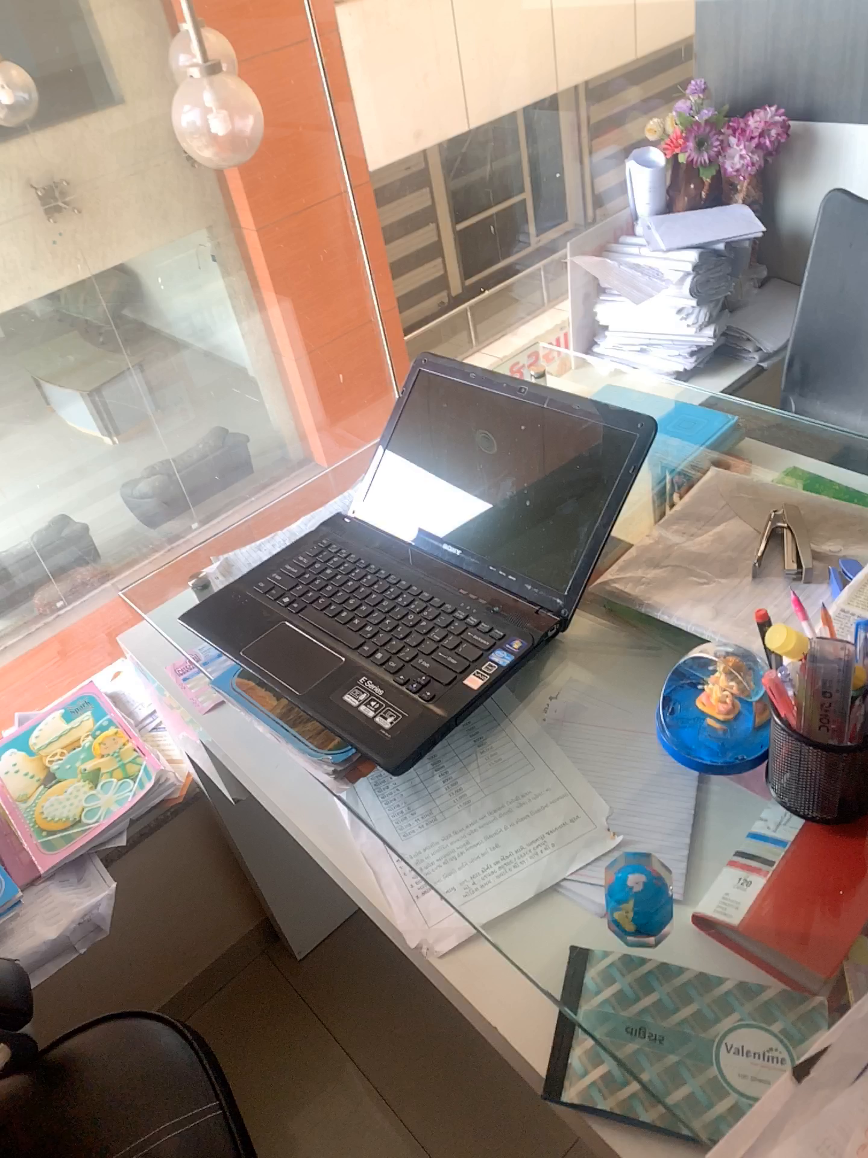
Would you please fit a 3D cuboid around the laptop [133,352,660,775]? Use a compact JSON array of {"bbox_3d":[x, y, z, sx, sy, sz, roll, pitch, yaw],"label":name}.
[{"bbox_3d":[-0.024,-0.046,0.760,0.286,0.111,0.337,27,52,38],"label":"laptop"}]
